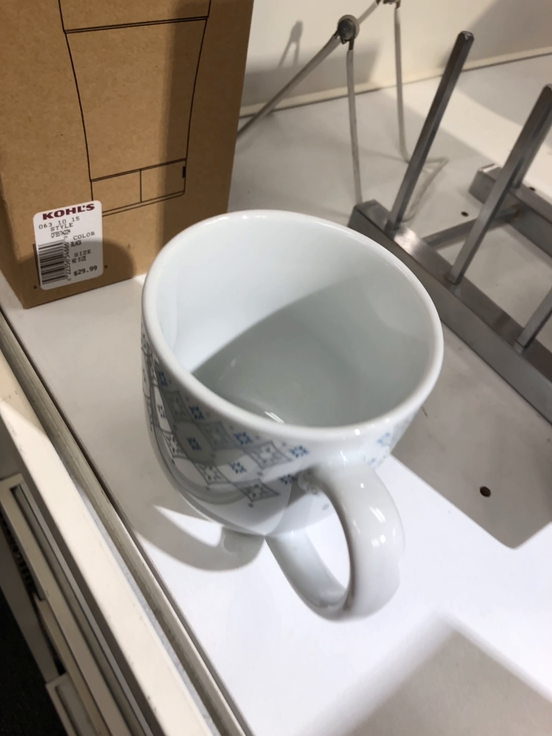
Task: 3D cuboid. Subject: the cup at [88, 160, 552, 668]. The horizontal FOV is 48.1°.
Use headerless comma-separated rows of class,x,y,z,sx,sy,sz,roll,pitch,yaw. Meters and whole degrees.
cup,0.000,0.010,0.228,0.099,0.099,0.136,-13,53,-20
